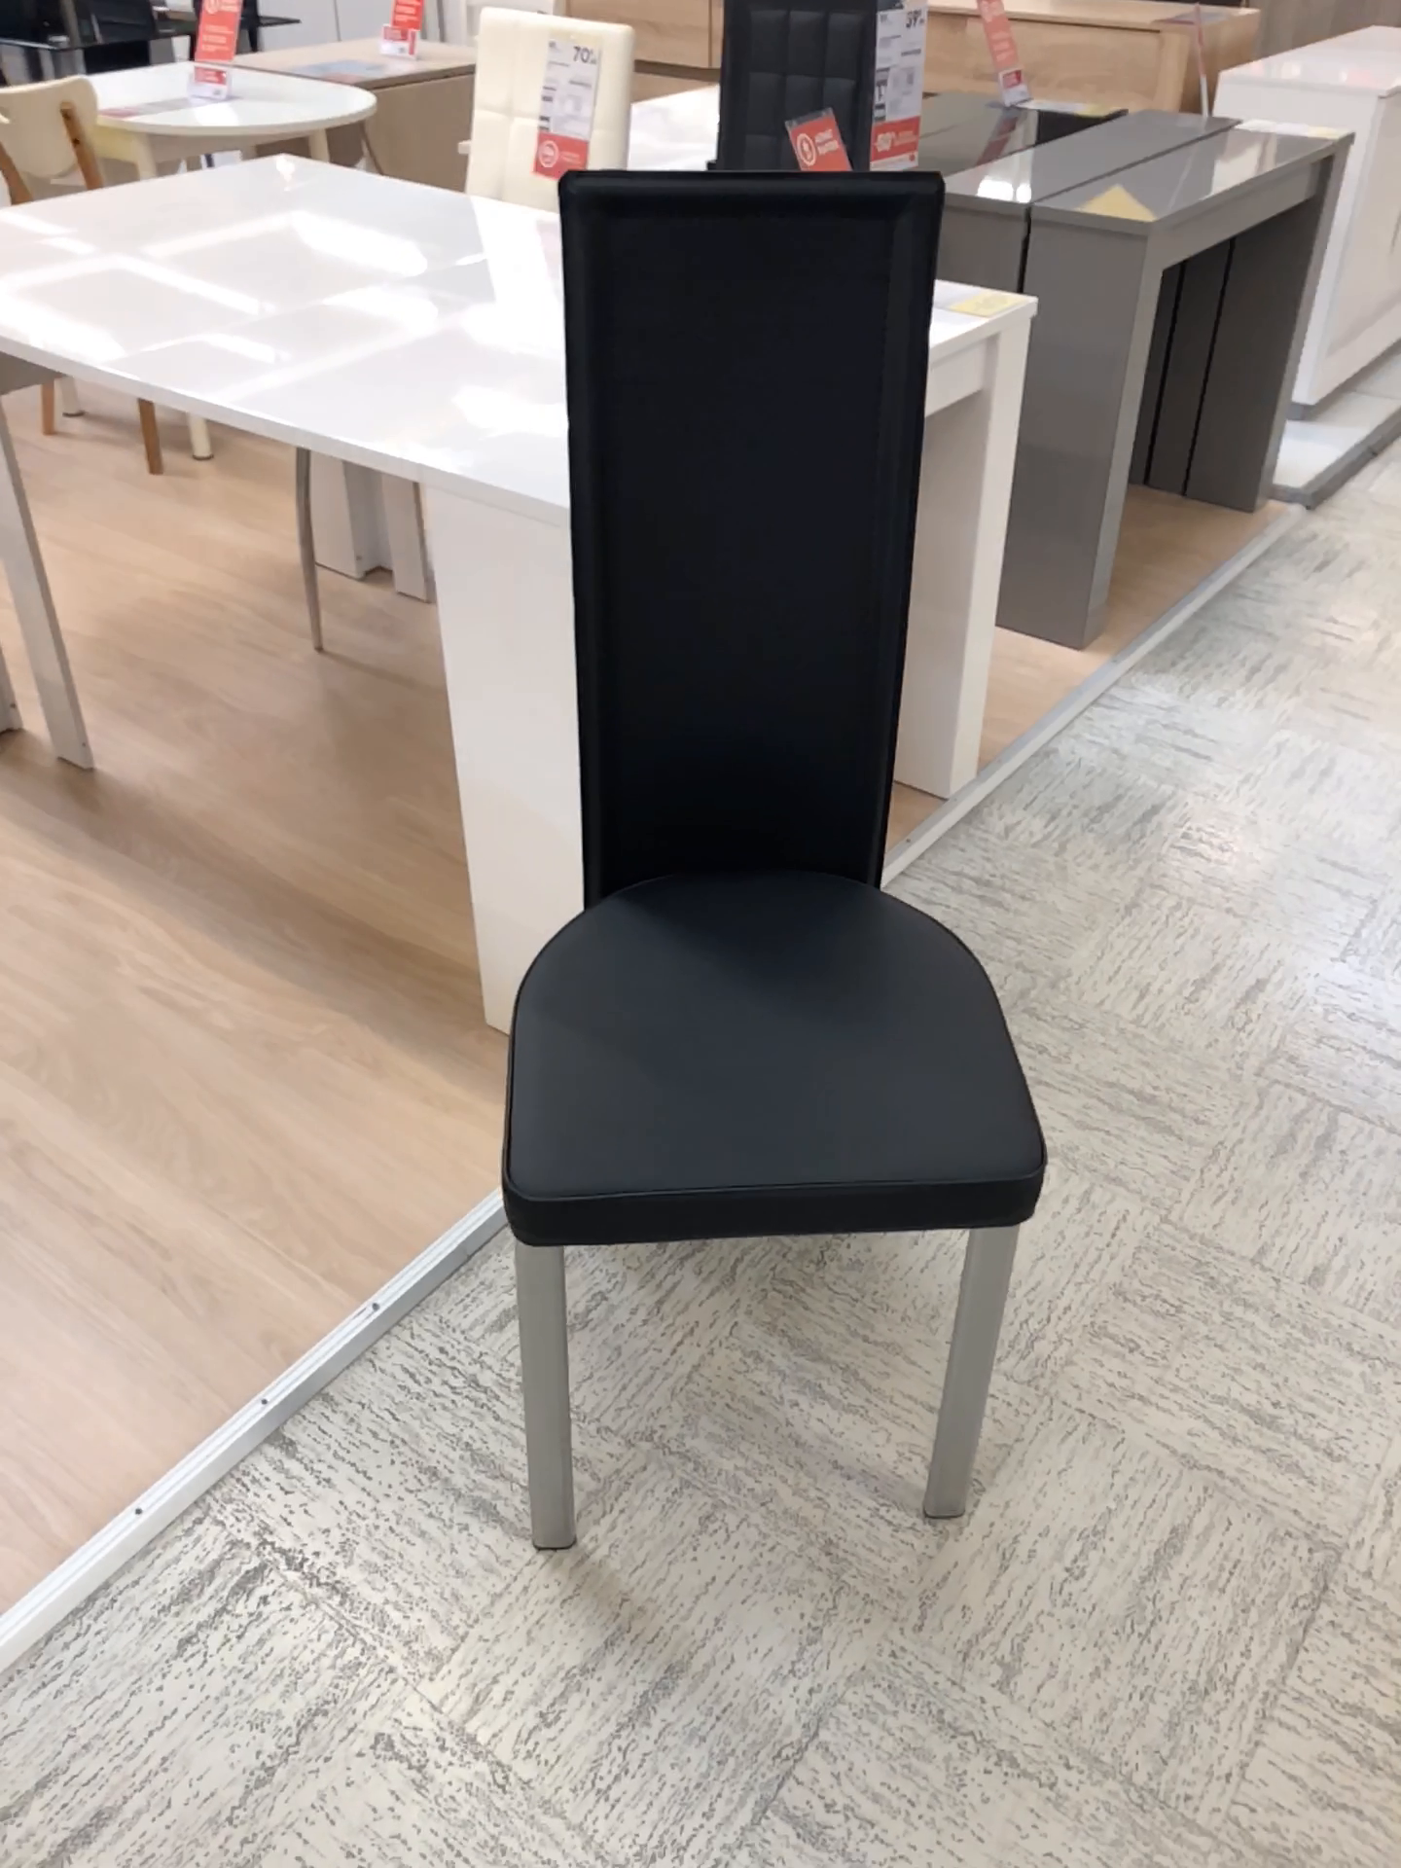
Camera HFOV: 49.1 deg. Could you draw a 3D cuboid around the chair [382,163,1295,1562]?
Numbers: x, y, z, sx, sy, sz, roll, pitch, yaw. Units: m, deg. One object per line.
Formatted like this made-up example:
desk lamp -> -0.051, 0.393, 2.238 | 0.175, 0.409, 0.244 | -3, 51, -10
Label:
chair -> 0.053, -0.019, 1.245 | 0.450, 1.014, 0.493 | -2, 36, -4
